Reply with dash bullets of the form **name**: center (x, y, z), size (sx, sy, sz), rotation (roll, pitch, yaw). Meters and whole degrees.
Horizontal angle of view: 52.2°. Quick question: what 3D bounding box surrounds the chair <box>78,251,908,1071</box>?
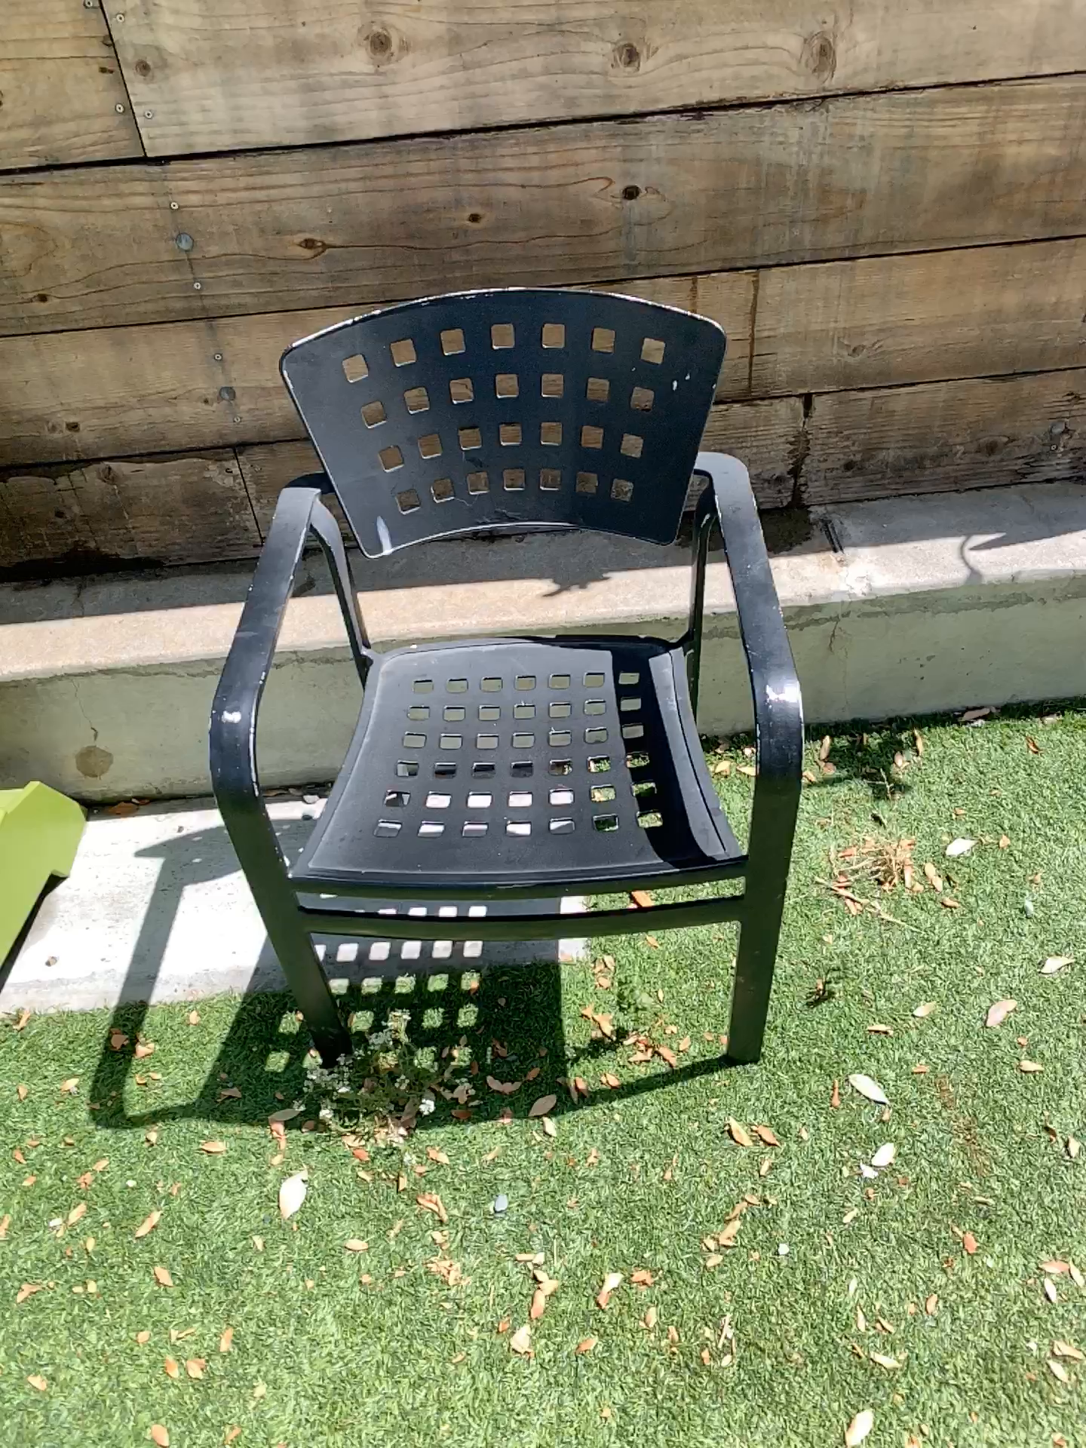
- **chair**: center (-0.017, -0.034, 1.224), size (0.590, 0.716, 0.523), rotation (-2, 46, 3)
